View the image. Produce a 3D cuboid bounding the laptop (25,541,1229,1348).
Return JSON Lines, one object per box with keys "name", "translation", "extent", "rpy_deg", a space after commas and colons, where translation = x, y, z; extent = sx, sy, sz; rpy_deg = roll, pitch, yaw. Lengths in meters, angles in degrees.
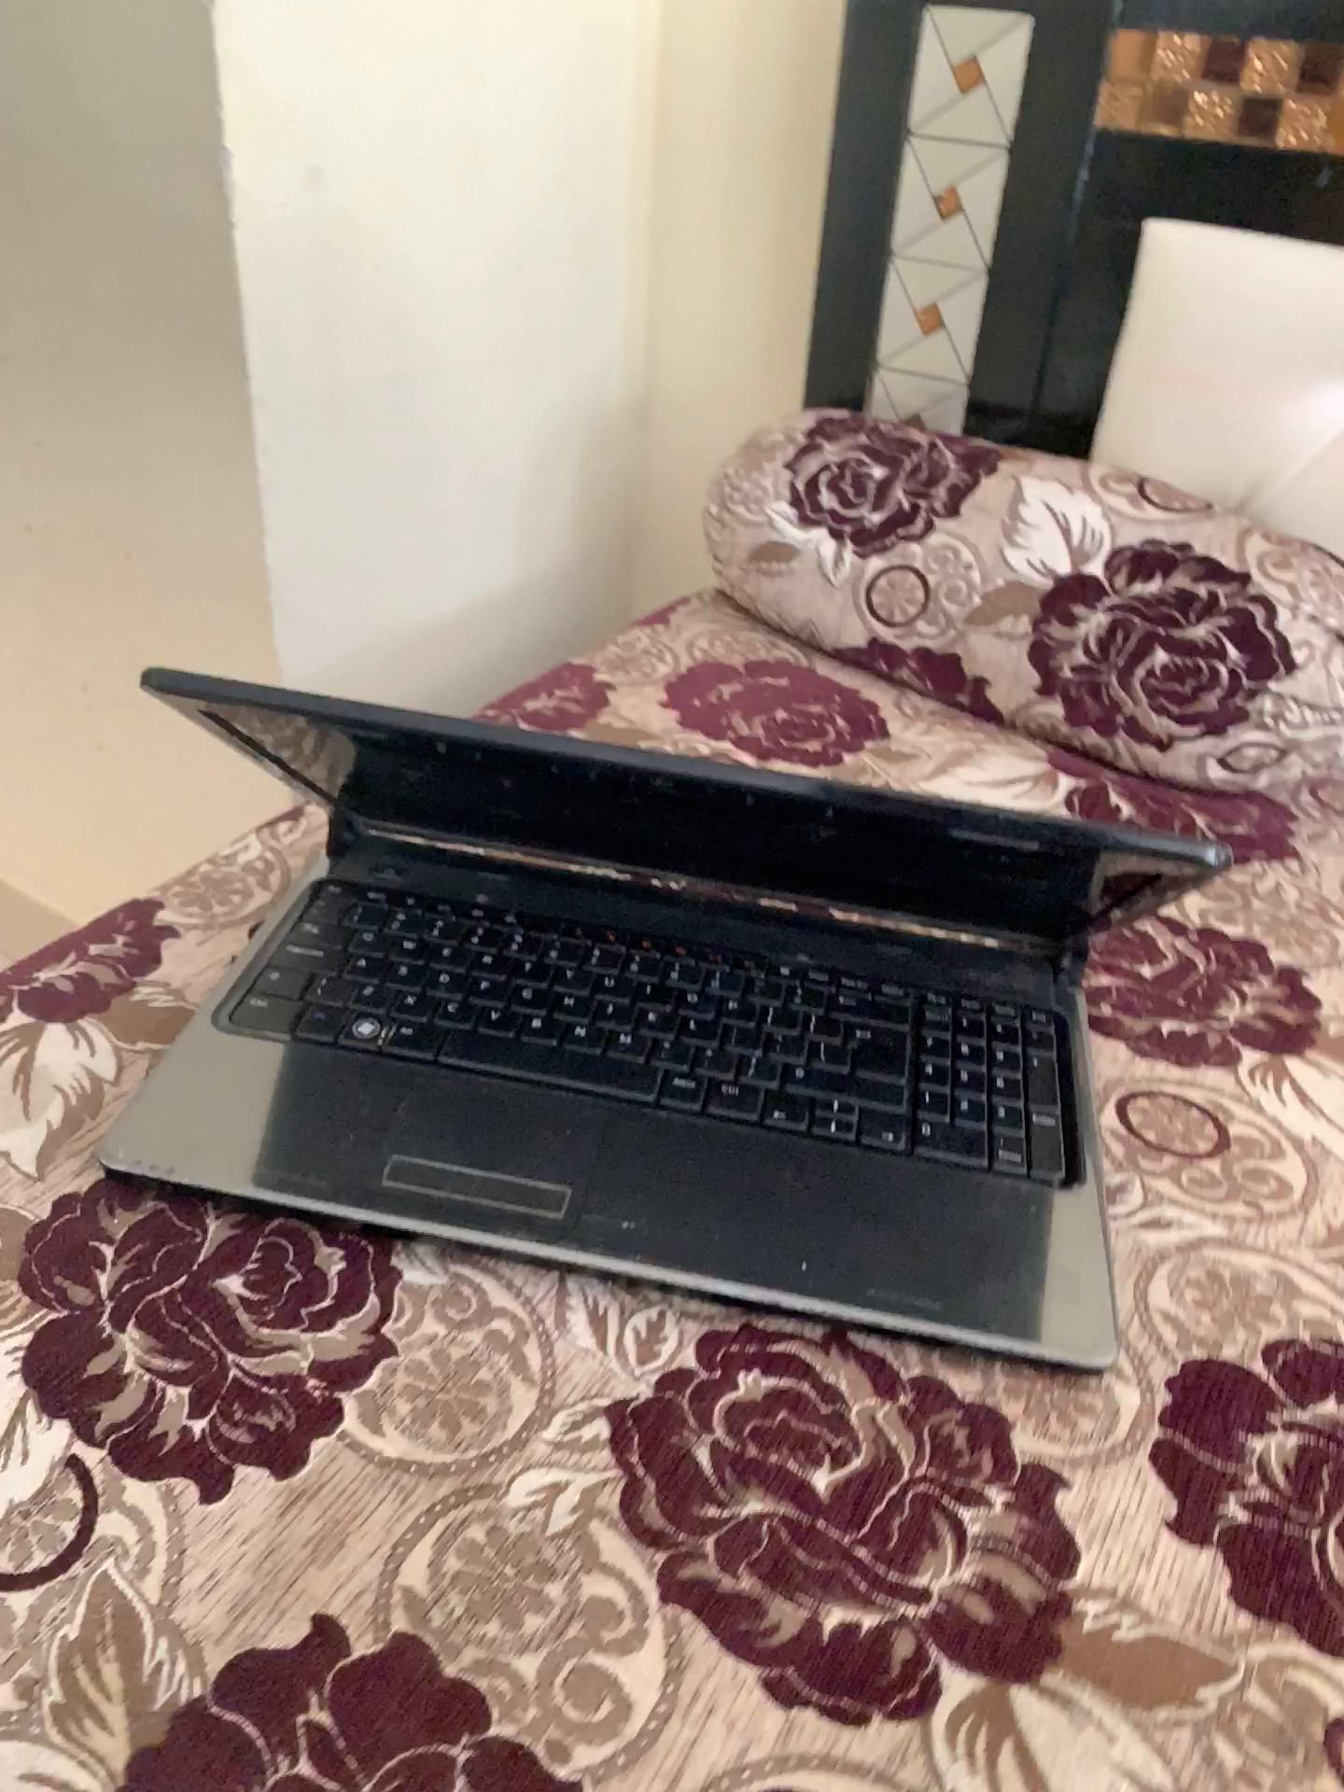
{"name": "laptop", "translation": [-0.008, -0.002, 0.540], "extent": [0.363, 0.154, 0.222], "rpy_deg": [9, 34, 7]}
